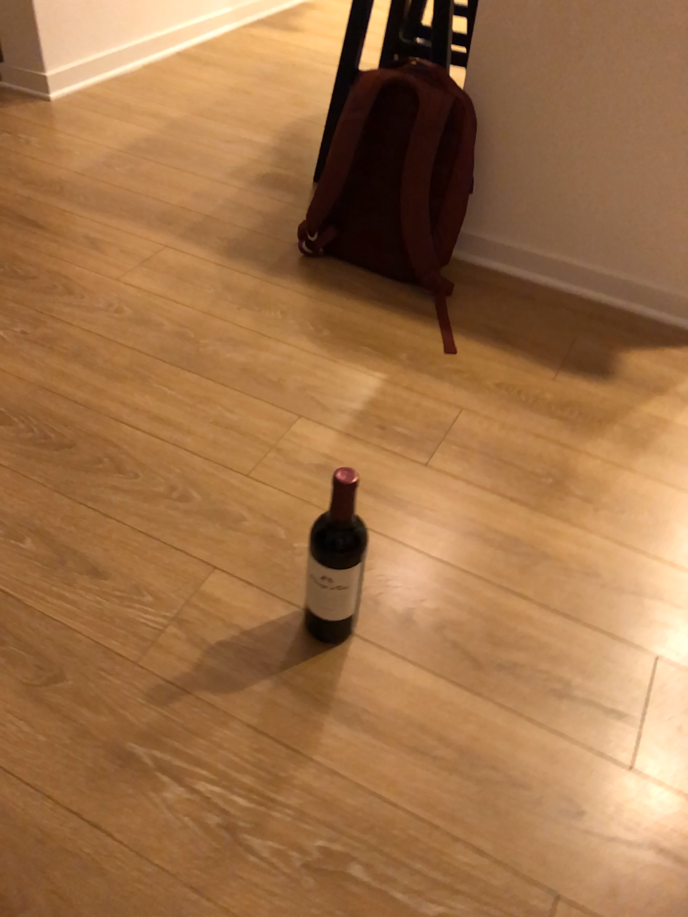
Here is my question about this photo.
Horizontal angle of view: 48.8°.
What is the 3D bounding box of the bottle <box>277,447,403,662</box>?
[{"bbox_3d":[-0.013,0.131,0.997,0.110,0.258,0.100,3,43,-3],"label":"bottle"}]
